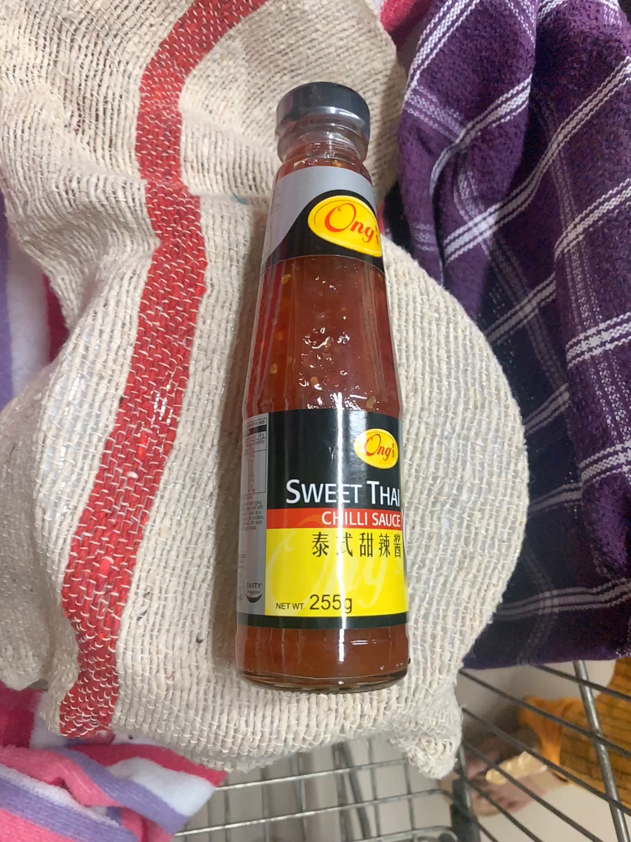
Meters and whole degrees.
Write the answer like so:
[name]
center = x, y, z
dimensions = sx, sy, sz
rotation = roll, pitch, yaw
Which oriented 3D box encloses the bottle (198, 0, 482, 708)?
[bottle]
center = 0.011, -0.022, 0.202
dimensions = 0.060, 0.050, 0.190
rotation = 11, 77, -37
